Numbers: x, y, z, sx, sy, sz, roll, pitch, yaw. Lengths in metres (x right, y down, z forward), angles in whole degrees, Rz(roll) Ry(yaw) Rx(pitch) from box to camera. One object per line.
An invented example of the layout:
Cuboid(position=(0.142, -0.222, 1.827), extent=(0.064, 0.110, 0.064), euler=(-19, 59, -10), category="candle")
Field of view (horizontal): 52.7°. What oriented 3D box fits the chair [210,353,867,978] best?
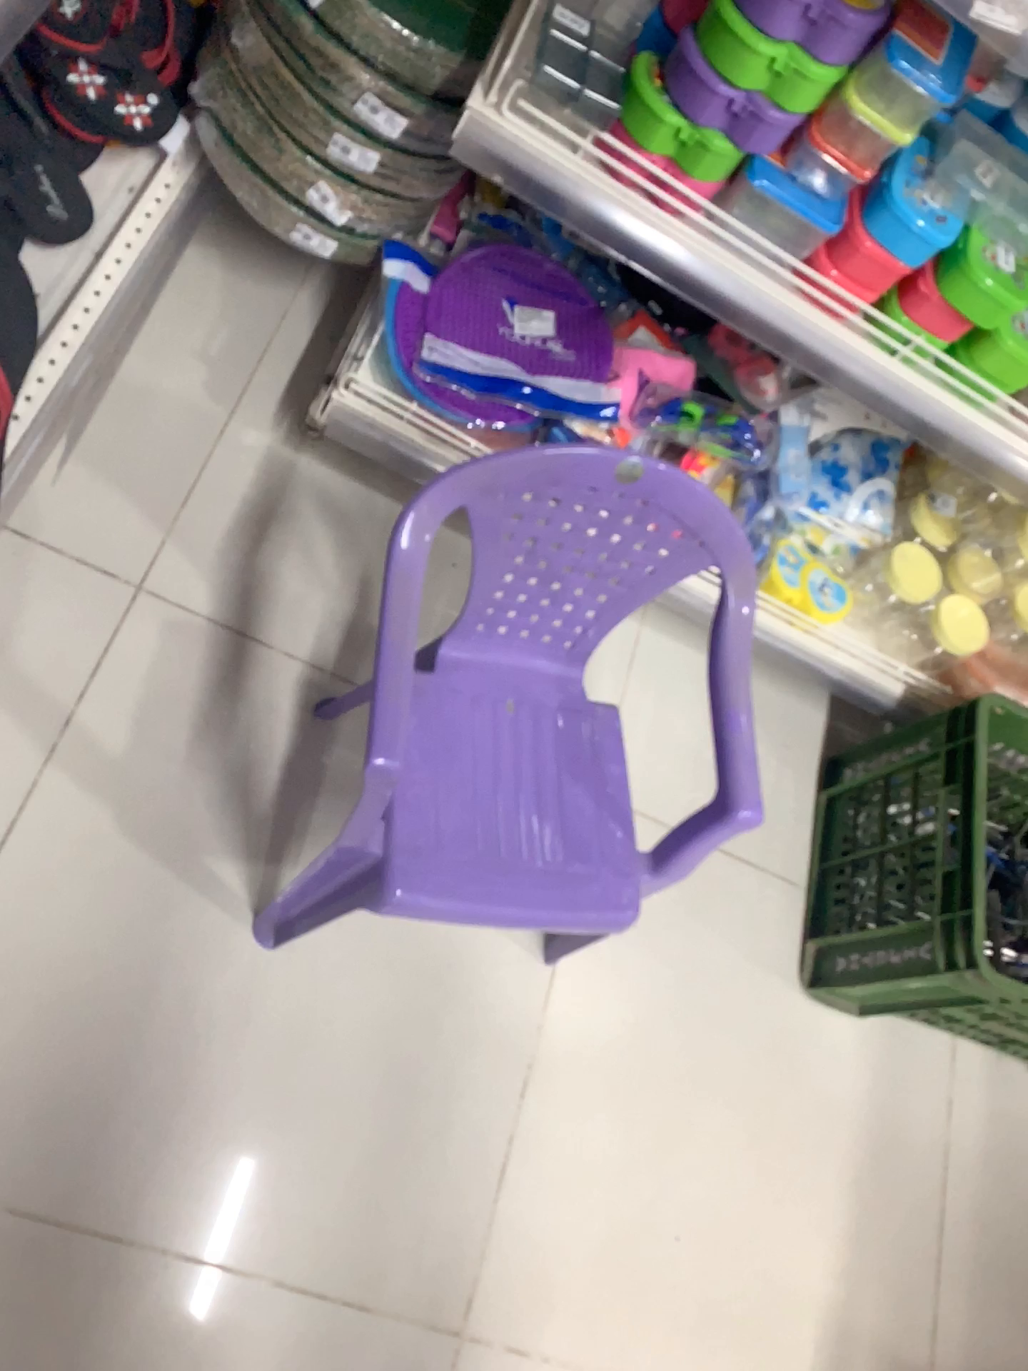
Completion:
Cuboid(position=(-0.014, 0.040, 0.958), extent=(0.421, 0.429, 0.400), euler=(8, 68, -23), category="chair")
